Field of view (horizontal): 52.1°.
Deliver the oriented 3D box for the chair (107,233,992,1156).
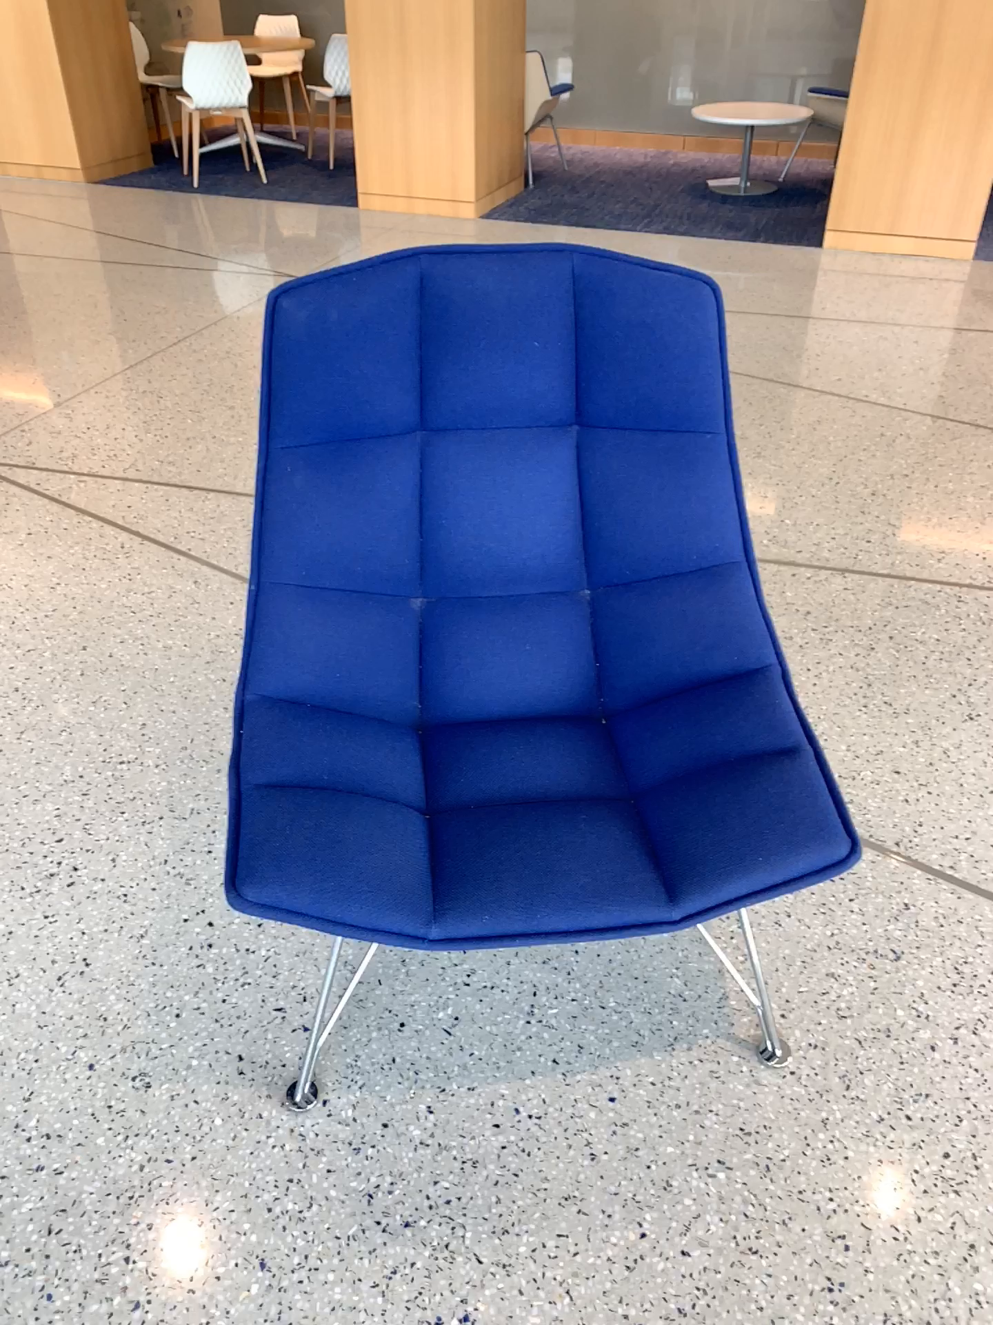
[{"bbox_3d":[0.051,0.001,1.448,0.798,0.962,0.836,-3,35,-4],"label":"chair"}]
